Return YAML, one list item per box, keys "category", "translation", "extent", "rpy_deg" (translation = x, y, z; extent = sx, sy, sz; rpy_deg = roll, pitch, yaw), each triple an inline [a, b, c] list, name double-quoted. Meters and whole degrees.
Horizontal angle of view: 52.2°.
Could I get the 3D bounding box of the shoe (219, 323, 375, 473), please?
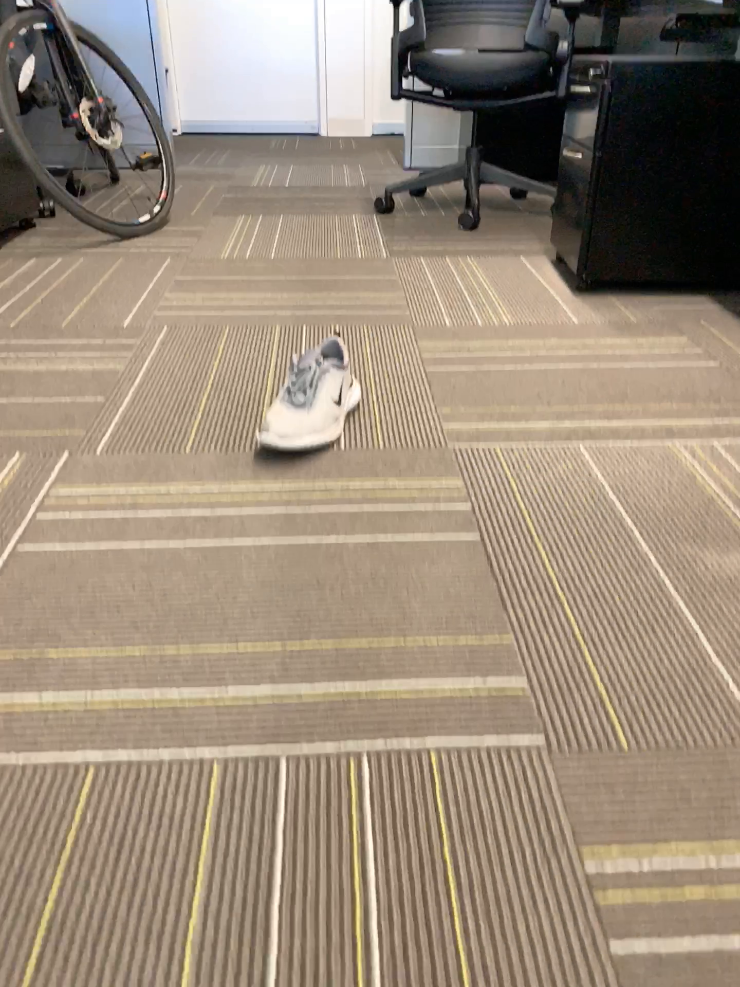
- category: "shoe"
  translation: [-0.109, -0.173, 1.274]
  extent: [0.160, 0.109, 0.332]
  rpy_deg: [8, 32, 11]
